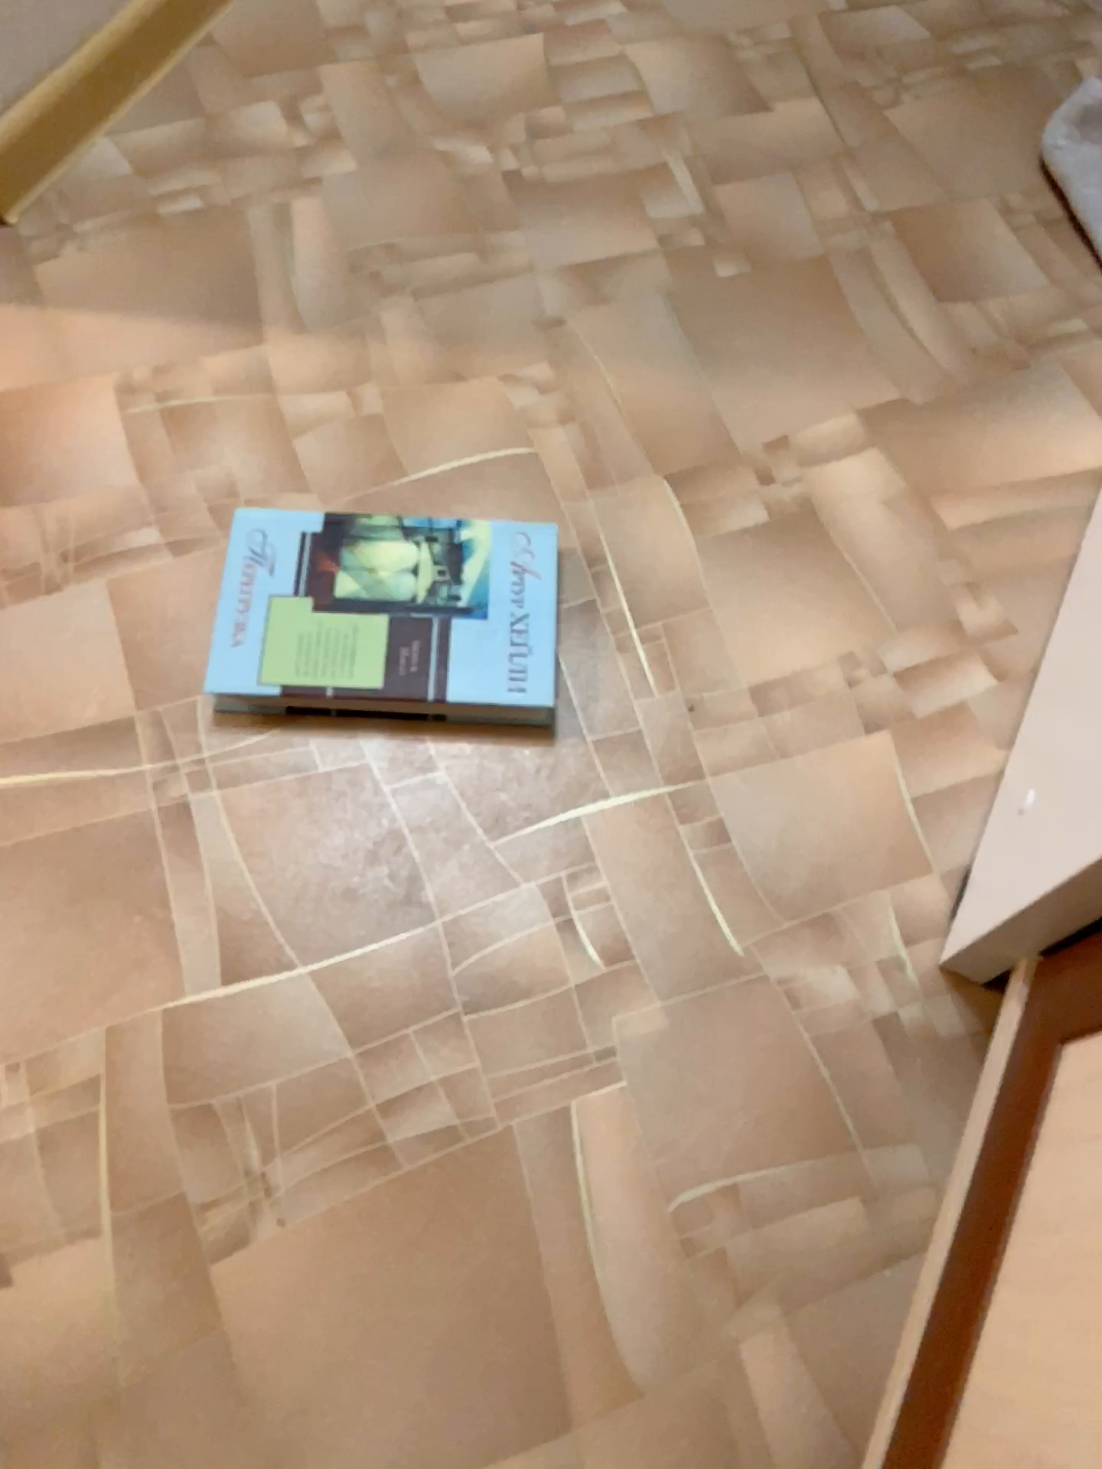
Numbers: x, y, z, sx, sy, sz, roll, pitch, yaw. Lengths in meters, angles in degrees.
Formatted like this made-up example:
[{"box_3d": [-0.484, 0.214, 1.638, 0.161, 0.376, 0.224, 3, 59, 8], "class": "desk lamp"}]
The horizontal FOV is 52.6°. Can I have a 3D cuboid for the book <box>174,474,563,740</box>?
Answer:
[{"box_3d": [-0.100, -0.077, 0.664, 0.210, 0.040, 0.151, 2, 63, -2], "class": "book"}]
